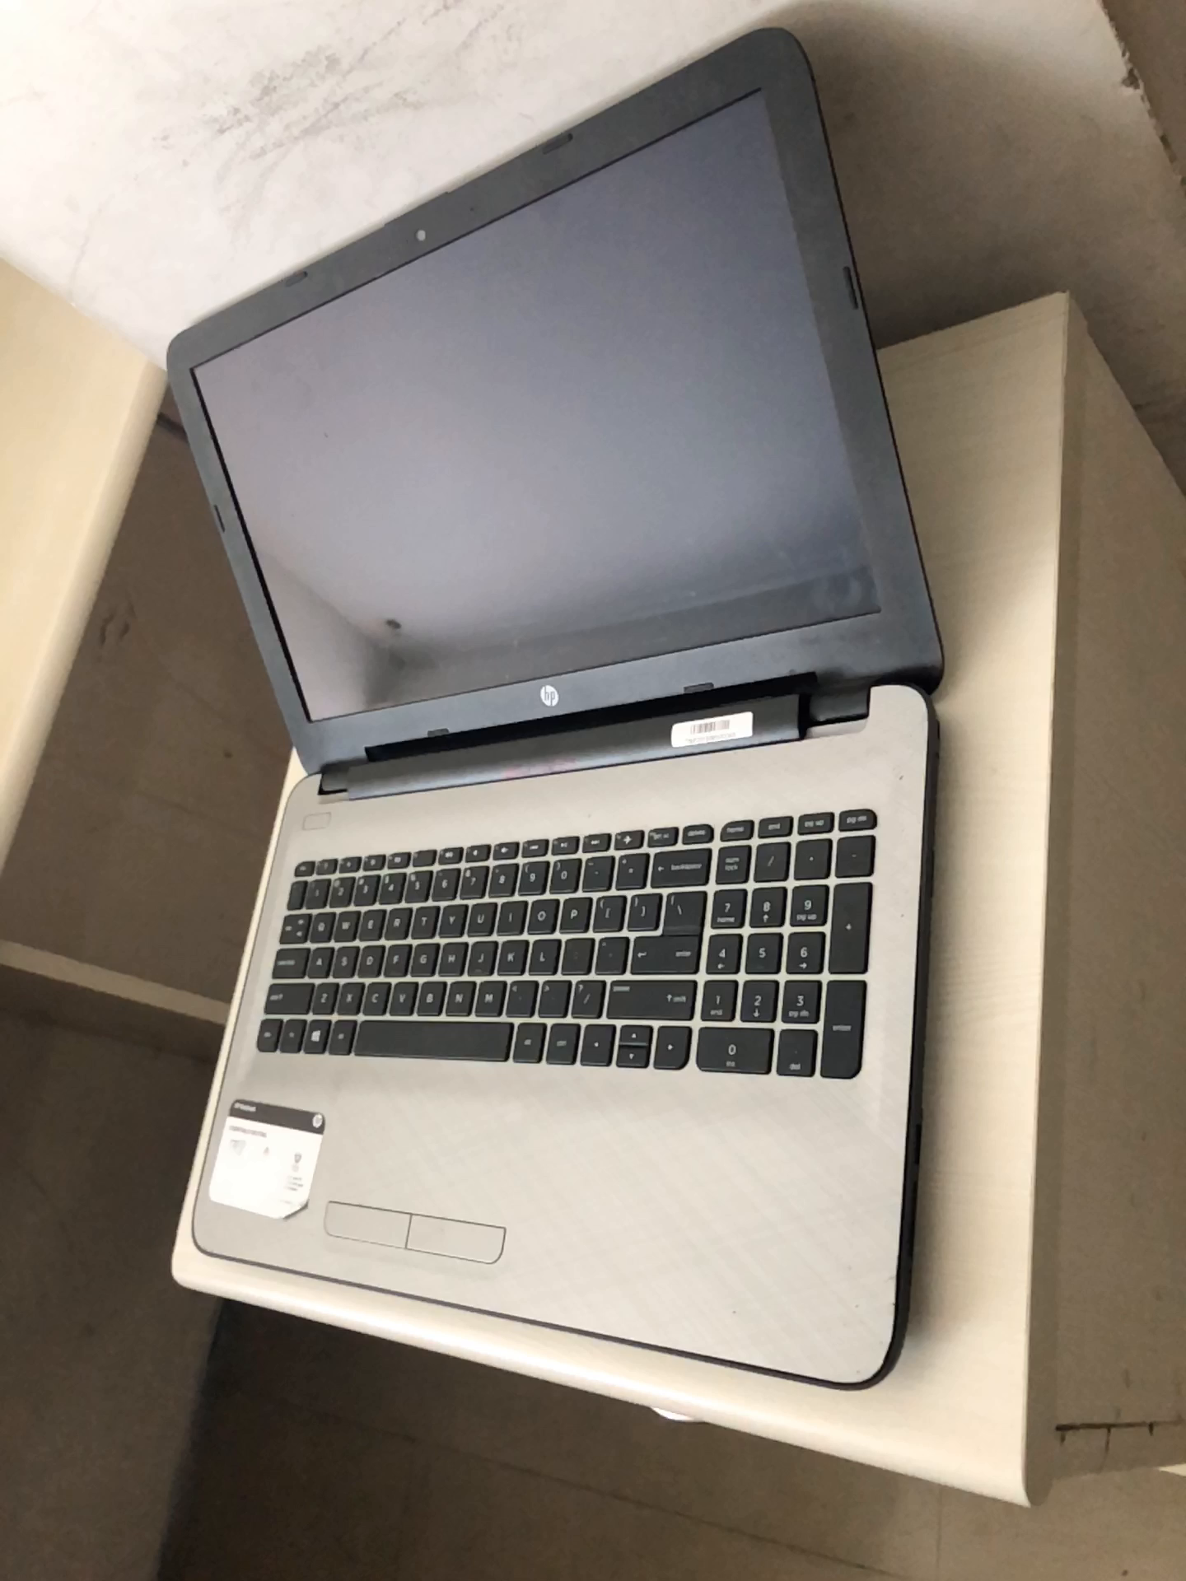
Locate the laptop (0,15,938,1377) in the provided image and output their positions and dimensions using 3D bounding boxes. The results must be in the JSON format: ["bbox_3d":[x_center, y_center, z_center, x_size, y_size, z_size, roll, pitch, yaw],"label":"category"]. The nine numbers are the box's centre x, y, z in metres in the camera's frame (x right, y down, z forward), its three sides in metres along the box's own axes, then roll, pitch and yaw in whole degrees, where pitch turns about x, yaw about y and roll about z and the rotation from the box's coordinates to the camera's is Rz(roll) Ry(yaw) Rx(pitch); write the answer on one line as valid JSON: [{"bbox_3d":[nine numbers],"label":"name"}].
[{"bbox_3d":[-0.067,-0.022,0.540,0.362,0.136,0.426,-7,67,38],"label":"laptop"}]
